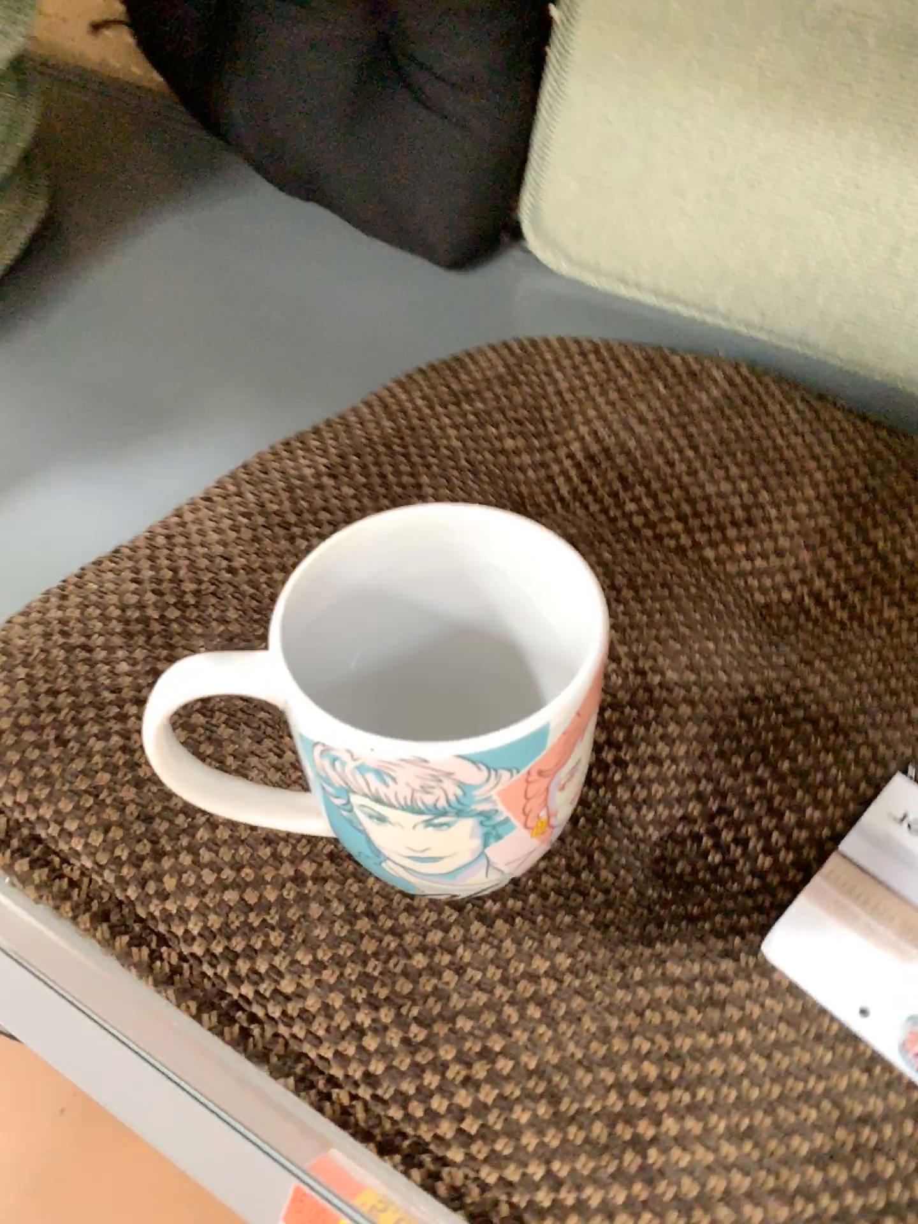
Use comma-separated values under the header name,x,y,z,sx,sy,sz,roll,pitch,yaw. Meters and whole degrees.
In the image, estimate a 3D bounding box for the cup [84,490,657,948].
name,x,y,z,sx,sy,sz,roll,pitch,yaw
cup,-0.019,0.033,0.277,0.128,0.100,0.090,1,50,1
